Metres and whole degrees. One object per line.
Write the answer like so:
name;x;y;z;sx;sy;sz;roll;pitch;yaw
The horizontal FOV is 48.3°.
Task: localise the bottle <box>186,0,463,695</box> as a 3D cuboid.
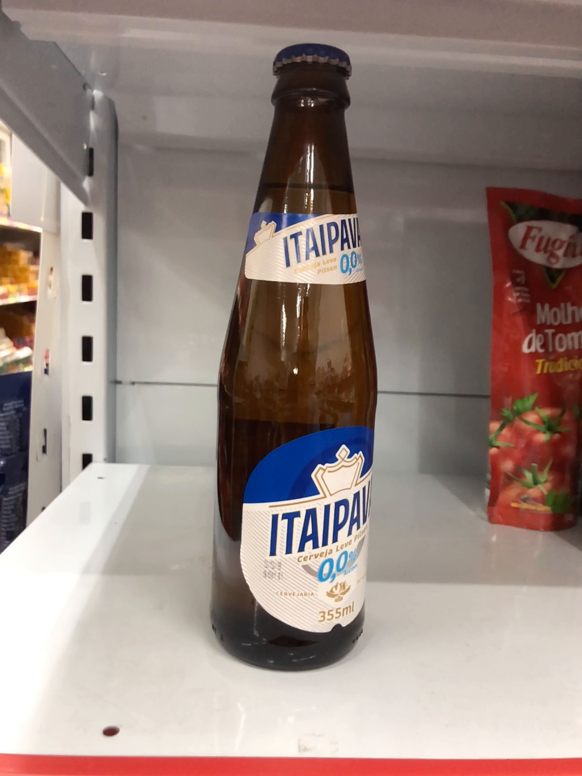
bottle;0.006;-0.017;0.220;0.060;0.209;0.060;3;9;0
